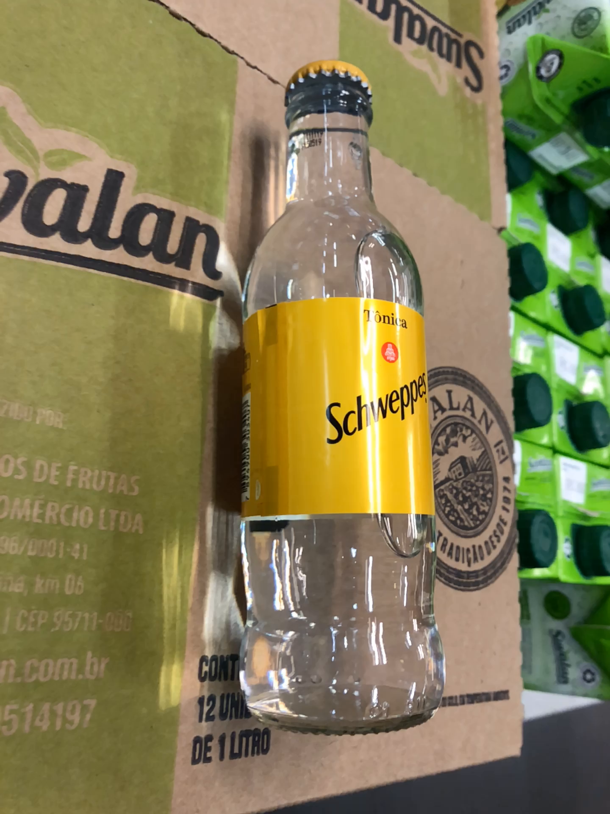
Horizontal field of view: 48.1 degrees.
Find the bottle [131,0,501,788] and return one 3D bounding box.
[{"bbox_3d":[-0.001,-0.033,0.206,0.070,0.070,0.240,9,74,-43],"label":"bottle"}]
